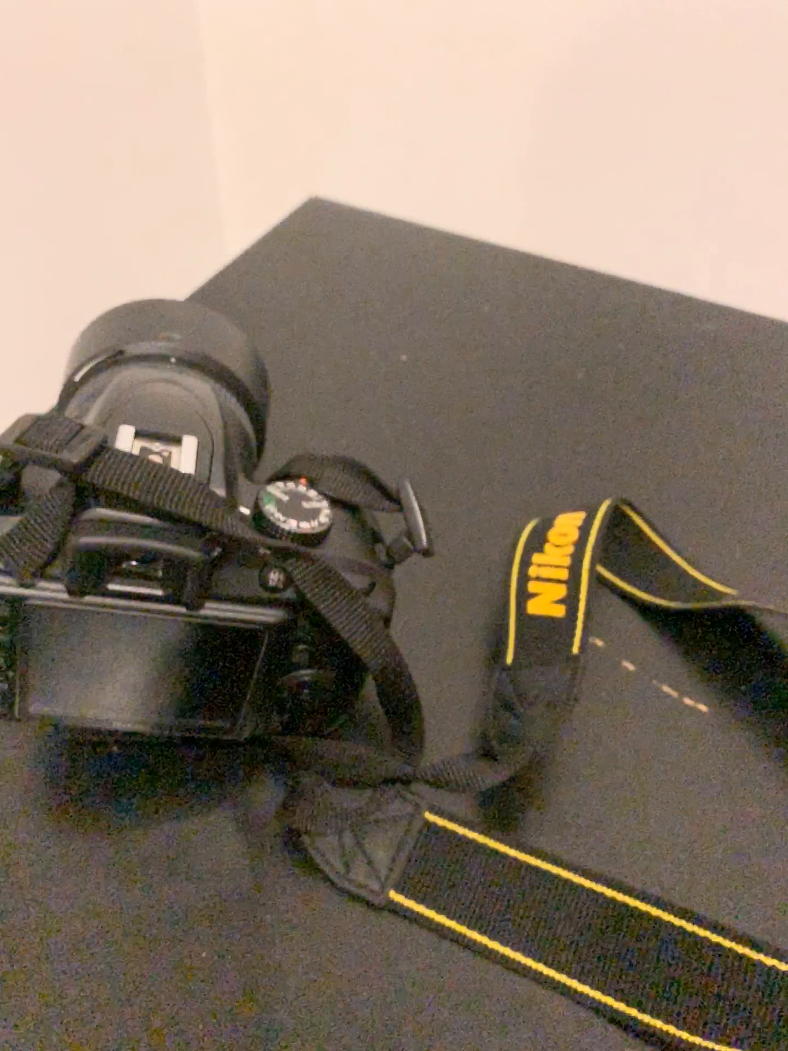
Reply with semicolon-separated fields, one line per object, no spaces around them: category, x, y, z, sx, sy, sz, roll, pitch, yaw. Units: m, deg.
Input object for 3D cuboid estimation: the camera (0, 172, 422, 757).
camera;-0.077;-0.037;0.313;0.116;0.089;0.221;9;38;-18
